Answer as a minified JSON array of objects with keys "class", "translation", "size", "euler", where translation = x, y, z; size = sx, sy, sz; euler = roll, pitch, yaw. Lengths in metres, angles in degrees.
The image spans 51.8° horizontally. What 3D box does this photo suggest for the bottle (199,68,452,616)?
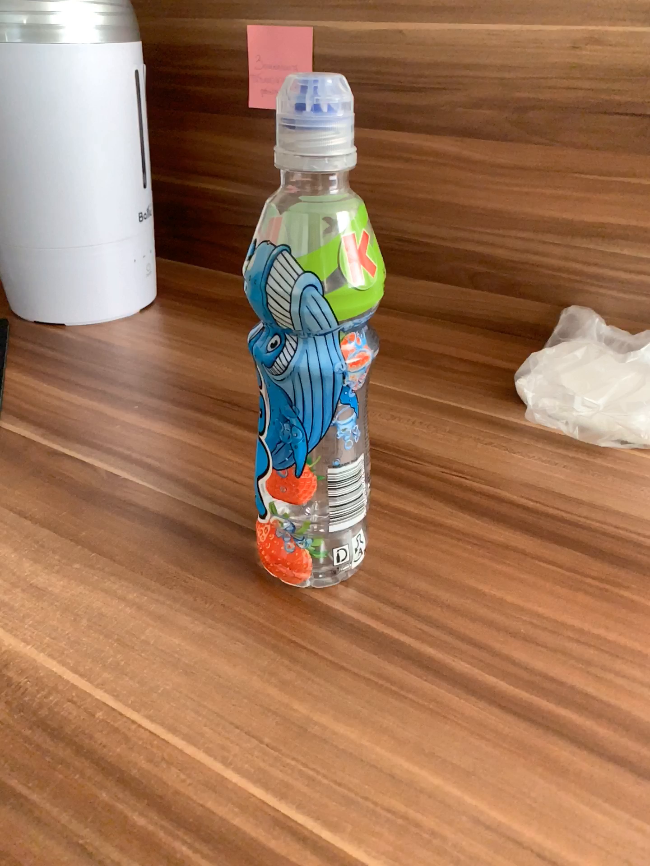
[{"class":"bottle","translation":[-0.004,-0.035,0.318],"size":[0.070,0.239,0.070],"euler":[1,31,-1]}]
